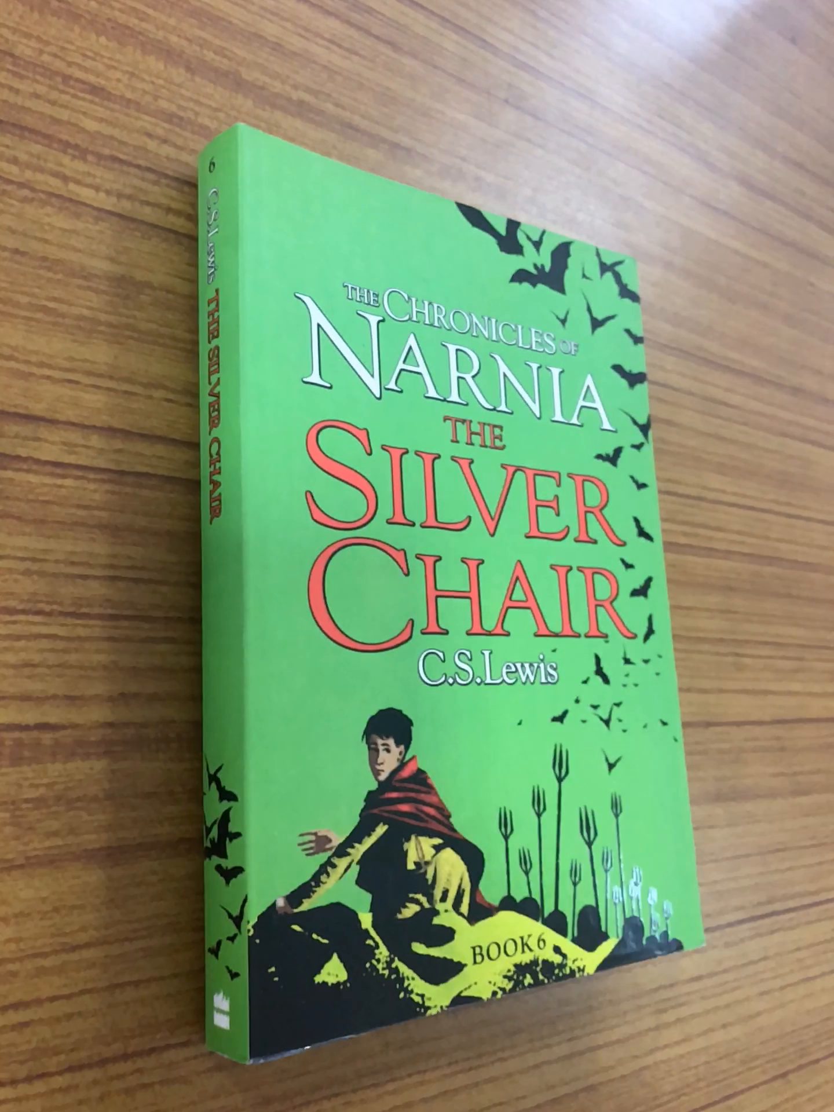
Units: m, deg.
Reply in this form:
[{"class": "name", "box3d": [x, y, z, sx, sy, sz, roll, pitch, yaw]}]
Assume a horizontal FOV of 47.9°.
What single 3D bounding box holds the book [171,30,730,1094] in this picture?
[{"class": "book", "box3d": [0.012, -0.002, 0.236, 0.140, 0.030, 0.210, 5, 77, -37]}]
